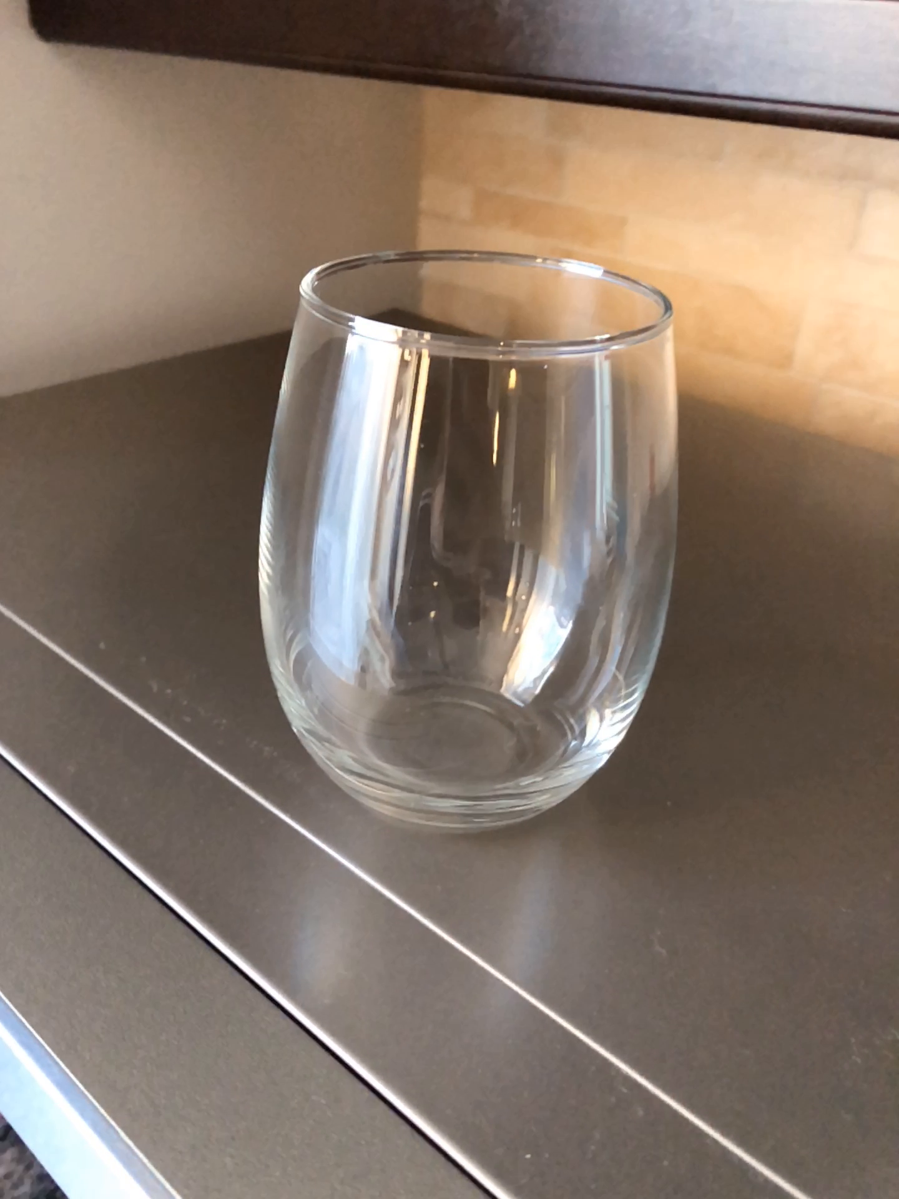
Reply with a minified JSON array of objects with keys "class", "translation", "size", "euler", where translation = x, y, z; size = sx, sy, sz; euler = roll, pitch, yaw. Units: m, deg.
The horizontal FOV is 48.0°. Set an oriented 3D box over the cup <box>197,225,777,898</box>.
[{"class":"cup","translation":[0.008,-0.016,0.219],"size":[0.078,0.104,0.083],"euler":[2,30,-1]}]
